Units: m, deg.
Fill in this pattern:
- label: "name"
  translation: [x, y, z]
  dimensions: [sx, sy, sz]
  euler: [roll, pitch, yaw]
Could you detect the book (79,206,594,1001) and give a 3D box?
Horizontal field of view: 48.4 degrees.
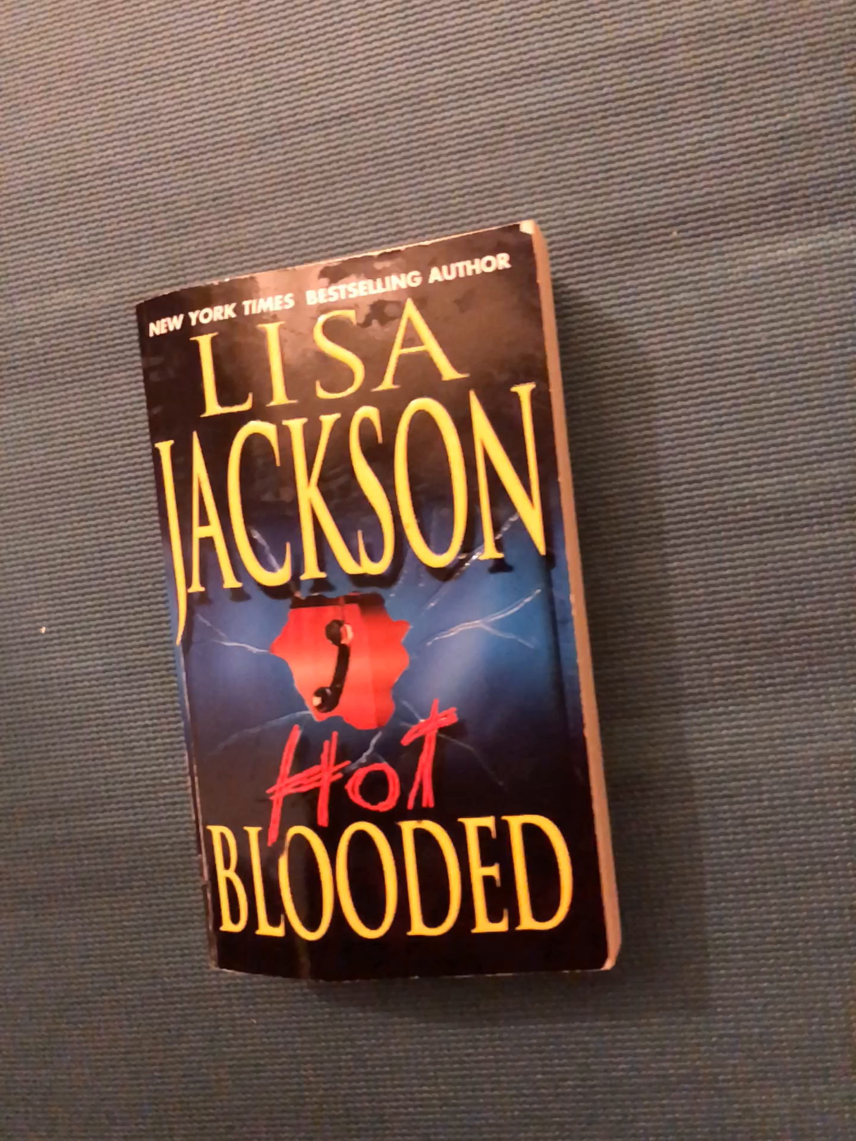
- label: "book"
  translation: [-0.022, 0.011, 0.238]
  dimensions: [0.103, 0.040, 0.171]
  euler: [-6, 91, 17]
